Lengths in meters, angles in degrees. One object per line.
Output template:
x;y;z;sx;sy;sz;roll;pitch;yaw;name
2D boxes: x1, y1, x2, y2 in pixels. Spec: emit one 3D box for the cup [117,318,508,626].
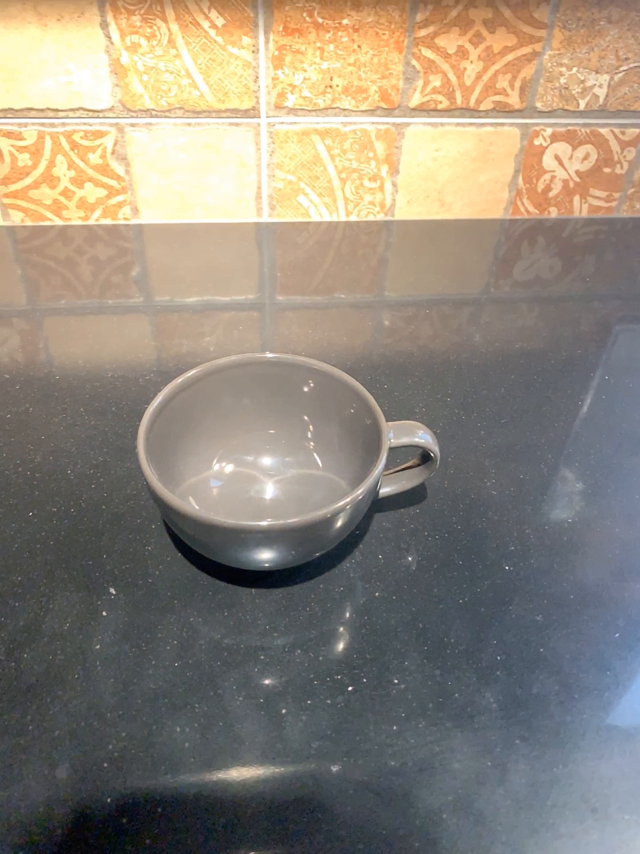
-0.010;0.013;0.293;0.140;0.060;0.110;-6;44;-8;cup
